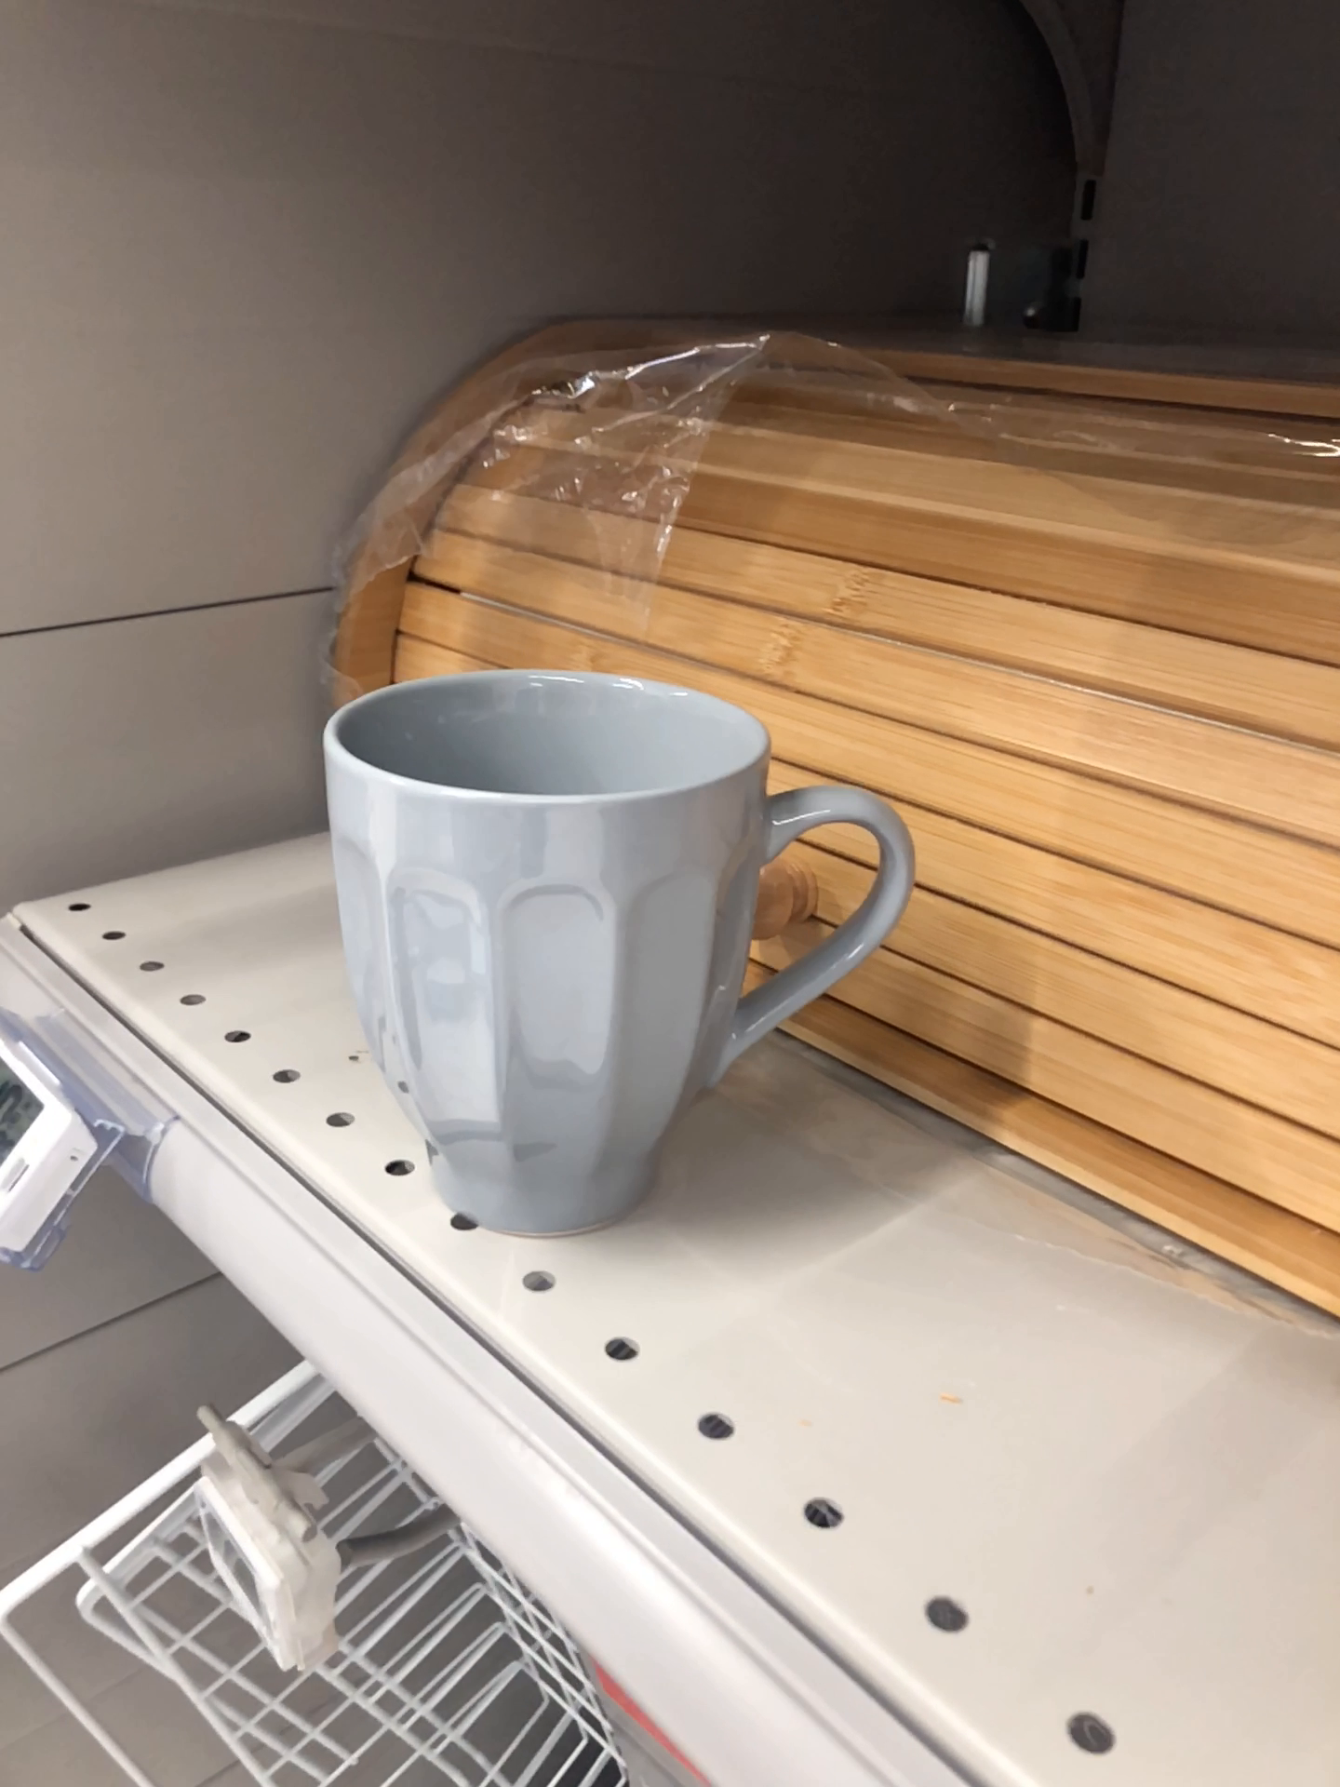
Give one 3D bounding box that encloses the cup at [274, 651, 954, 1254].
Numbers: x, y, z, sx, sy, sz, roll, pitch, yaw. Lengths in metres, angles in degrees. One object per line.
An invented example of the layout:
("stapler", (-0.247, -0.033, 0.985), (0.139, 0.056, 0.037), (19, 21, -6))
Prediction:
("cup", (-0.015, 0.006, 0.312), (0.116, 0.091, 0.093), (-2, 23, -8))
